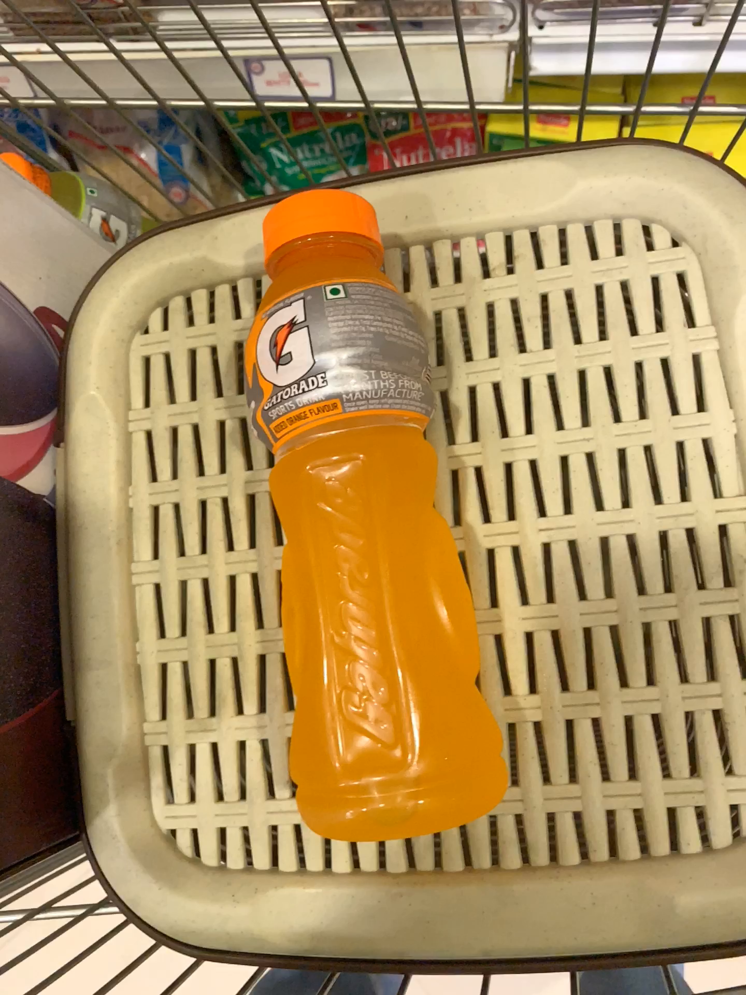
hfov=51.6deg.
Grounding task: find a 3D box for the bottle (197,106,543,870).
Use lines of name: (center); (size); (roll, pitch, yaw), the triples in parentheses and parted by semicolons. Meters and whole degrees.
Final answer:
bottle: (-0.004, -0.004, 0.248); (0.060, 0.060, 0.210); (-16, 77, 37)
